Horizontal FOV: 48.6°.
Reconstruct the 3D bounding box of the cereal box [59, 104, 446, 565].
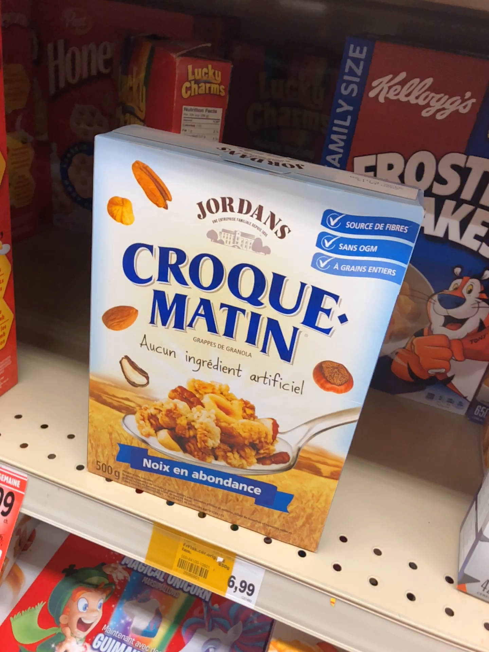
[{"bbox_3d":[-0.015,0.016,0.349,0.200,0.258,0.050,16,30,10],"label":"cereal box"}]
